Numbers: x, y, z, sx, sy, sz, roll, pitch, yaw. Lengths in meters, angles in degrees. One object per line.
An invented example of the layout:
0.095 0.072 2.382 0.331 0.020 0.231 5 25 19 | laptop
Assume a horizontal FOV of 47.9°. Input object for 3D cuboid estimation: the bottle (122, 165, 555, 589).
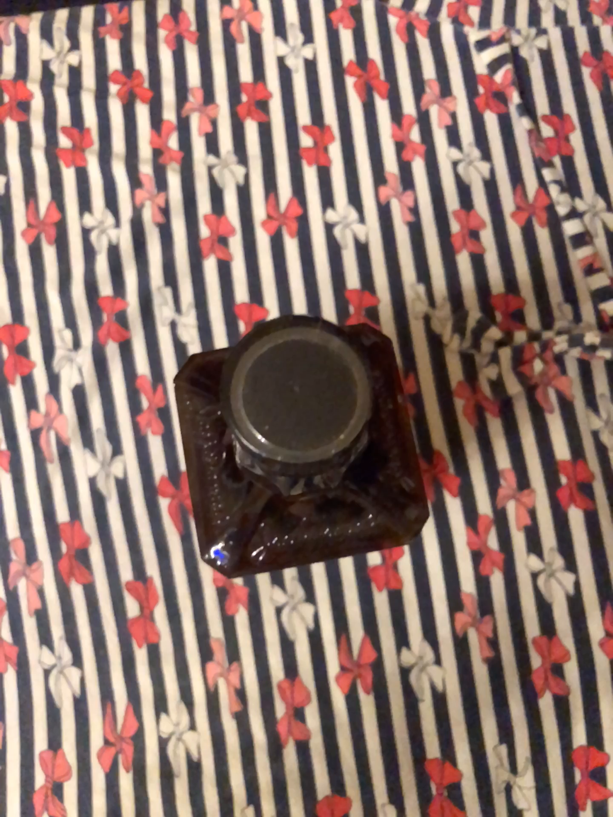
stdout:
0.002 0.014 0.257 0.073 0.247 0.074 0 79 -1 | bottle
